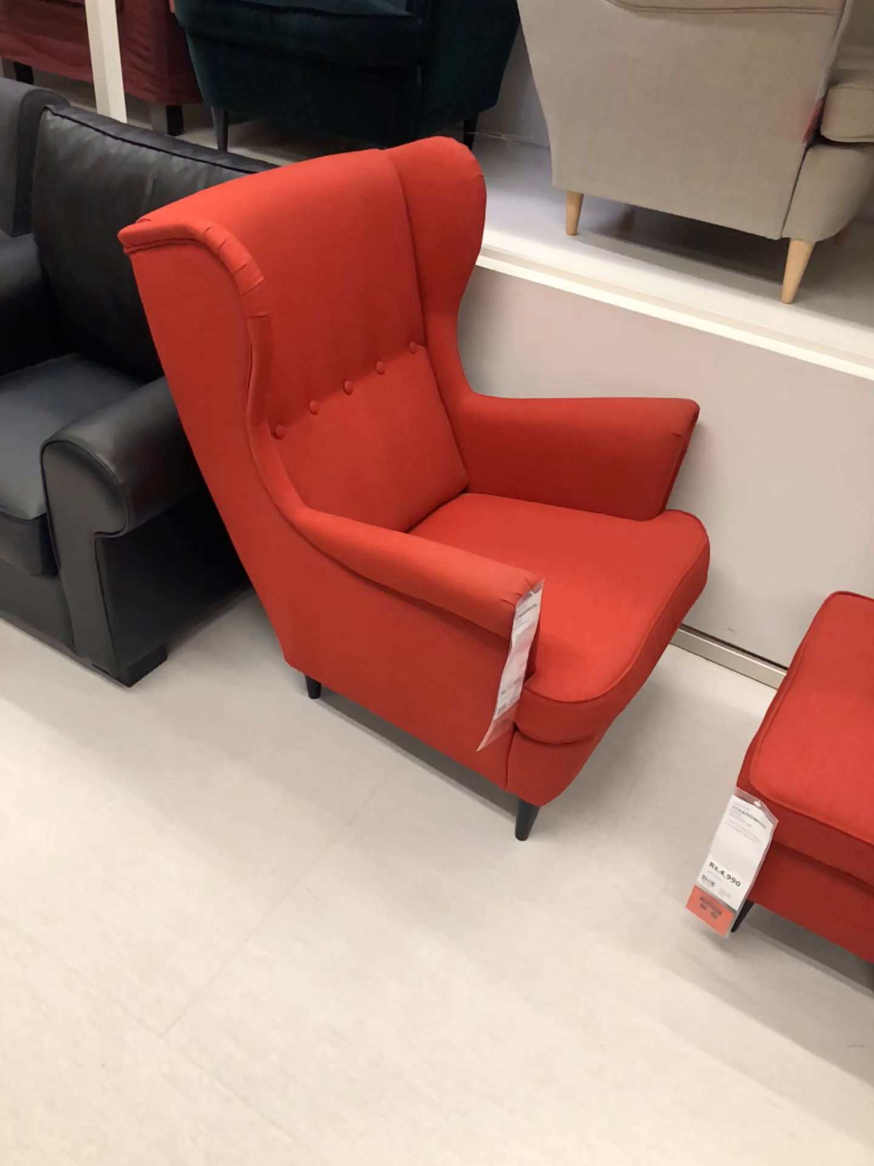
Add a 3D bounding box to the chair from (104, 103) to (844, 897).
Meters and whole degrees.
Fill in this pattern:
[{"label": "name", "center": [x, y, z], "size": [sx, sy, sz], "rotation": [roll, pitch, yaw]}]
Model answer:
[{"label": "chair", "center": [0.081, -0.233, 1.800], "size": [0.842, 0.973, 0.905], "rotation": [23, 40, 22]}]
